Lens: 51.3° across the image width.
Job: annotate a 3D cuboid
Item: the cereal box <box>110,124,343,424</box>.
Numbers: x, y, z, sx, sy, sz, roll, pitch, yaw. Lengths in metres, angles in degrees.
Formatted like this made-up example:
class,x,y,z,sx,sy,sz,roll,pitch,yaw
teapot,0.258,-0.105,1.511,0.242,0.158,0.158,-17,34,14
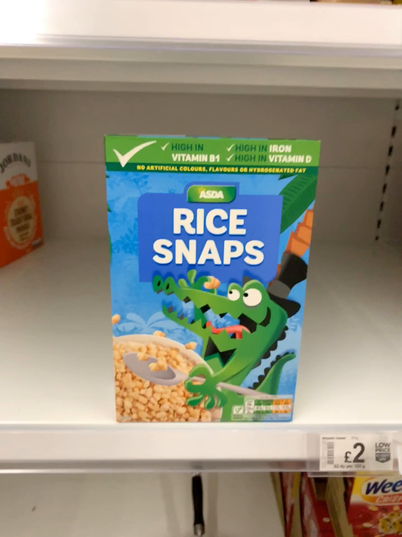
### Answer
class,x,y,z,sx,sy,sz,roll,pitch,yaw
cereal box,0.017,0.011,0.419,0.190,0.288,0.070,0,19,-3
